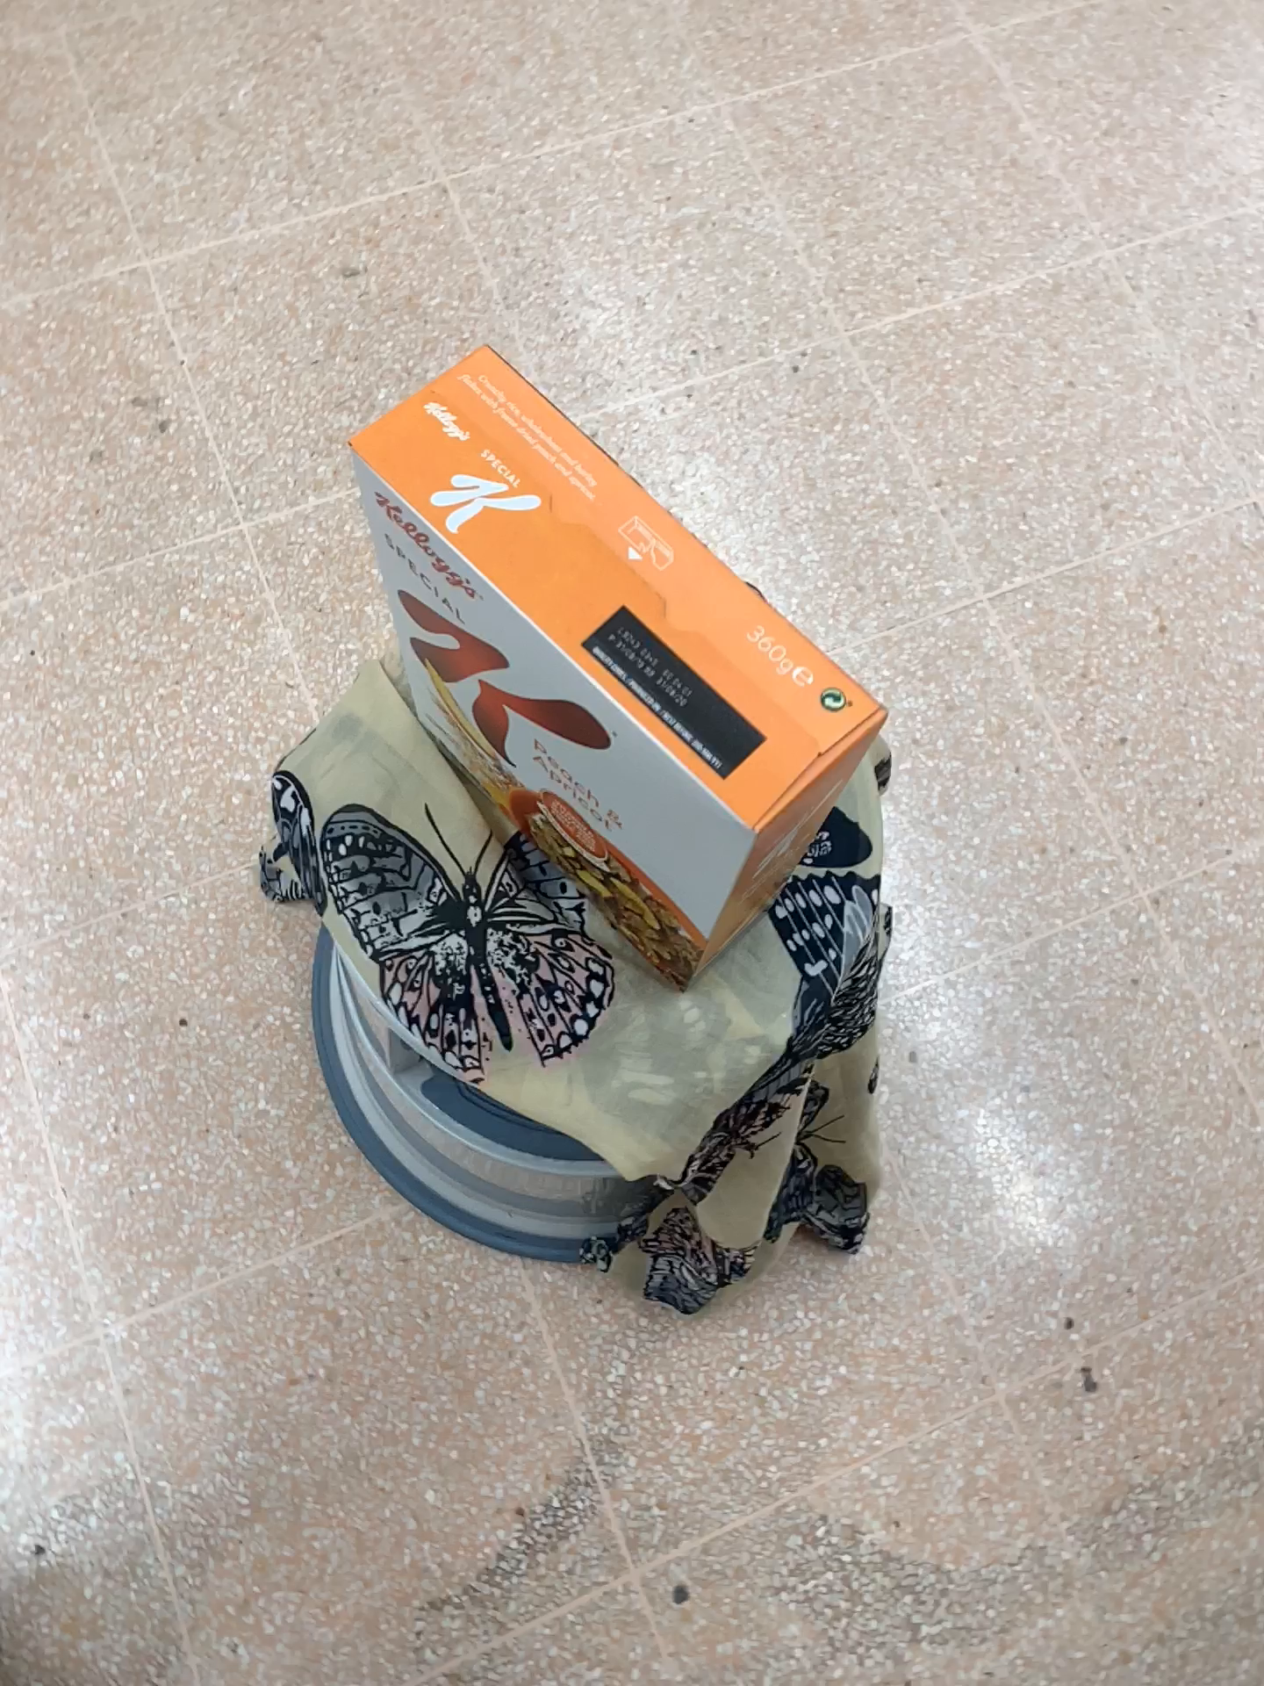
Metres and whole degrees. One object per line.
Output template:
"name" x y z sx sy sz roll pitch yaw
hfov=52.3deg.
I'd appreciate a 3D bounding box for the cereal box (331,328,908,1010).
"cereal box" -0.014 -0.047 0.551 0.060 0.269 0.210 -43 80 -14
